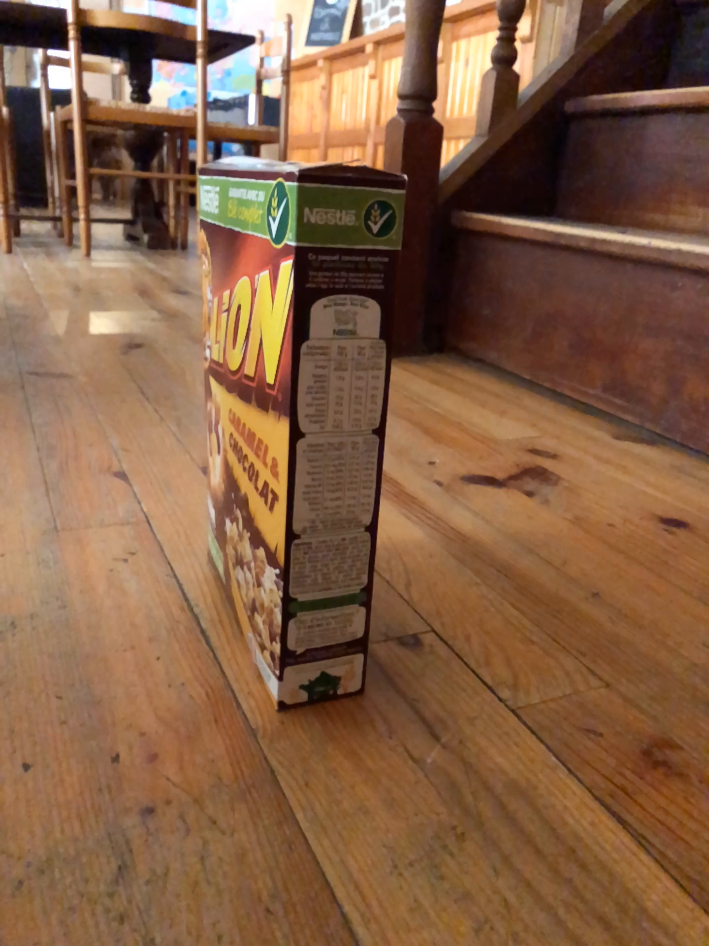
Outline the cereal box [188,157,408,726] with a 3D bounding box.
[{"bbox_3d":[-0.050,-0.034,0.463,0.060,0.279,0.200,-3,21,-21],"label":"cereal box"}]
